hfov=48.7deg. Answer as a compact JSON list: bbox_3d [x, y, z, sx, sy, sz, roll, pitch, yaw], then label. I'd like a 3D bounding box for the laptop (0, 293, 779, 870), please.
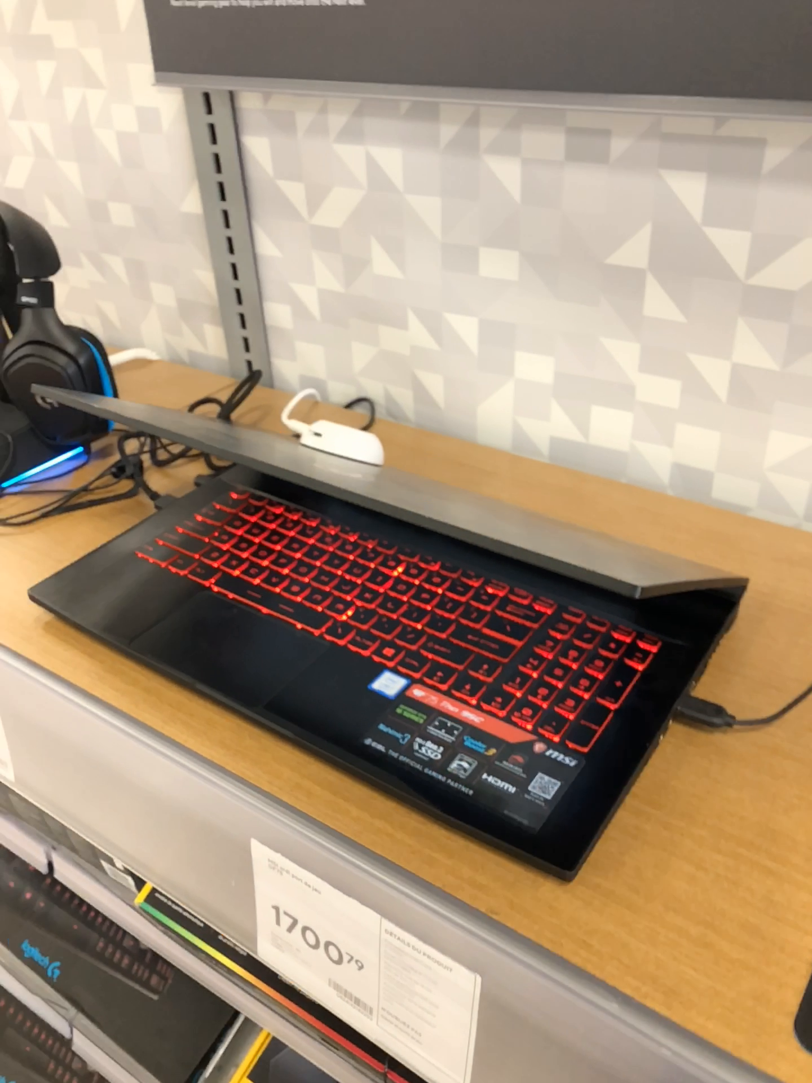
[{"bbox_3d":[-0.022,-0.022,0.548,0.394,0.133,0.248,19,39,30],"label":"laptop"}]
